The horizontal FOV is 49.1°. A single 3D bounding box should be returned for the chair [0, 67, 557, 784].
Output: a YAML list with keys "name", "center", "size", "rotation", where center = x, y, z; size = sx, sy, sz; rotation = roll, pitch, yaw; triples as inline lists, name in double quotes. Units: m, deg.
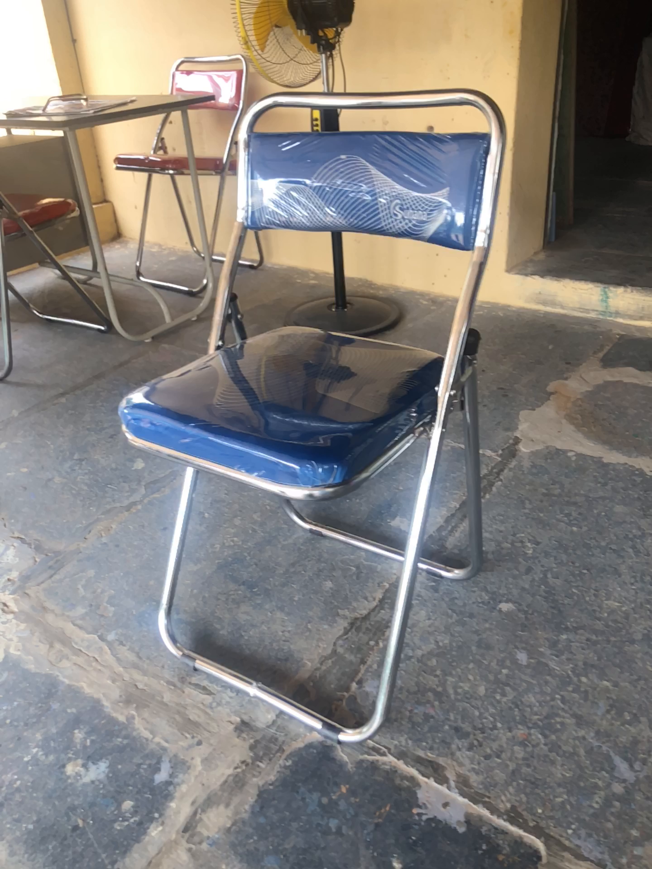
- name: "chair"
  center: [-0.025, -0.066, 1.050]
  size: [0.500, 0.806, 0.512]
  rotation: [14, 32, 30]
